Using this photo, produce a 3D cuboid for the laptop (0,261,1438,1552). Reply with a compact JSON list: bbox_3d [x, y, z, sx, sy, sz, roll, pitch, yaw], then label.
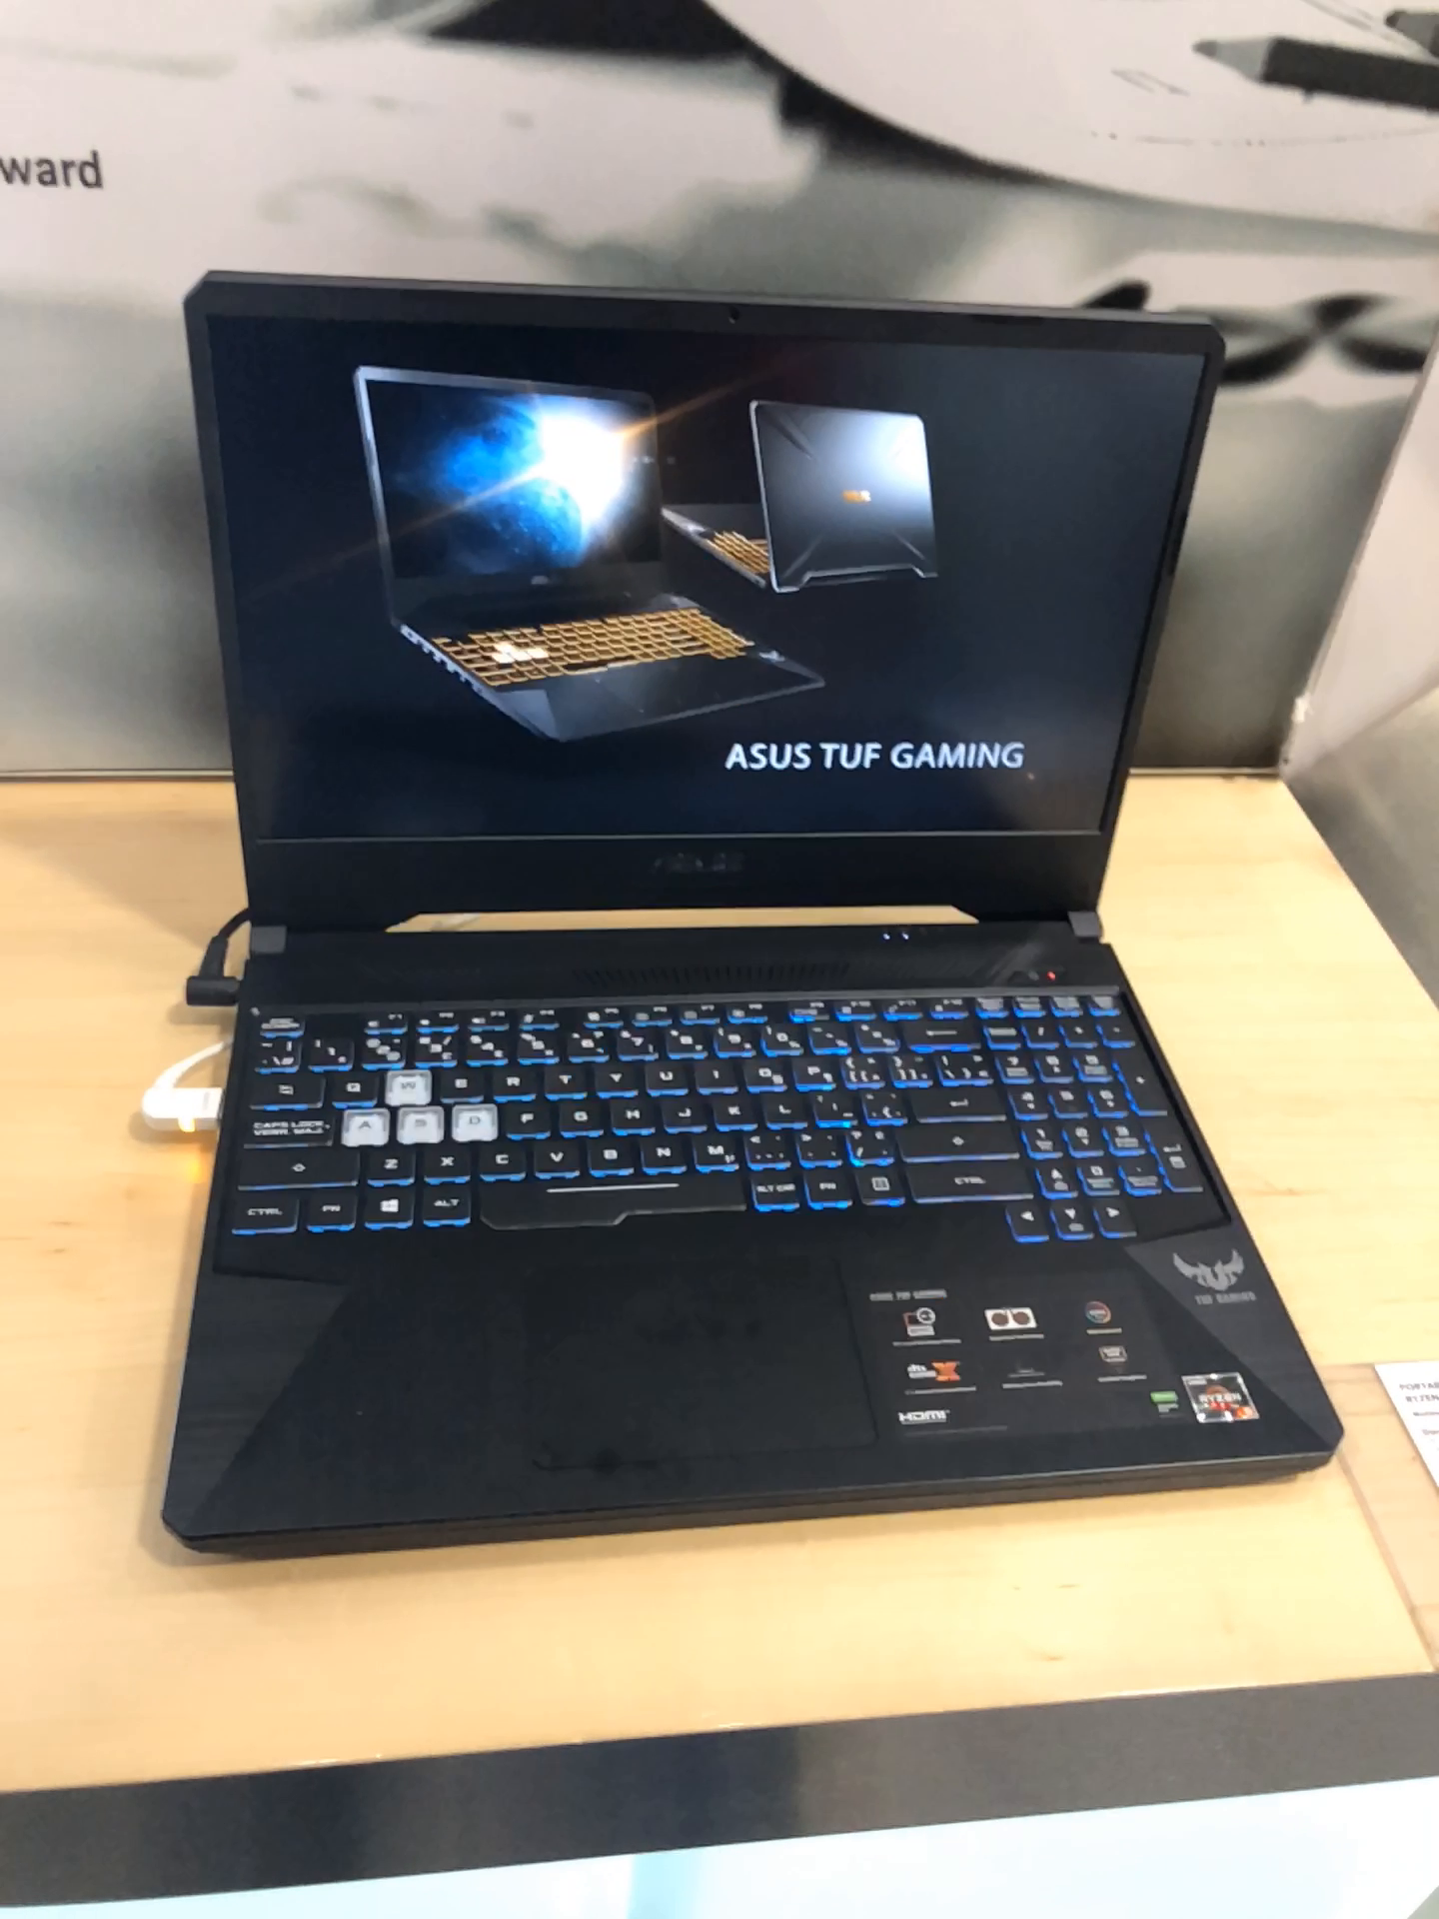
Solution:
[{"bbox_3d":[0.009,-0.036,0.507,0.359,0.245,0.310,-2,41,-9],"label":"laptop"}]
